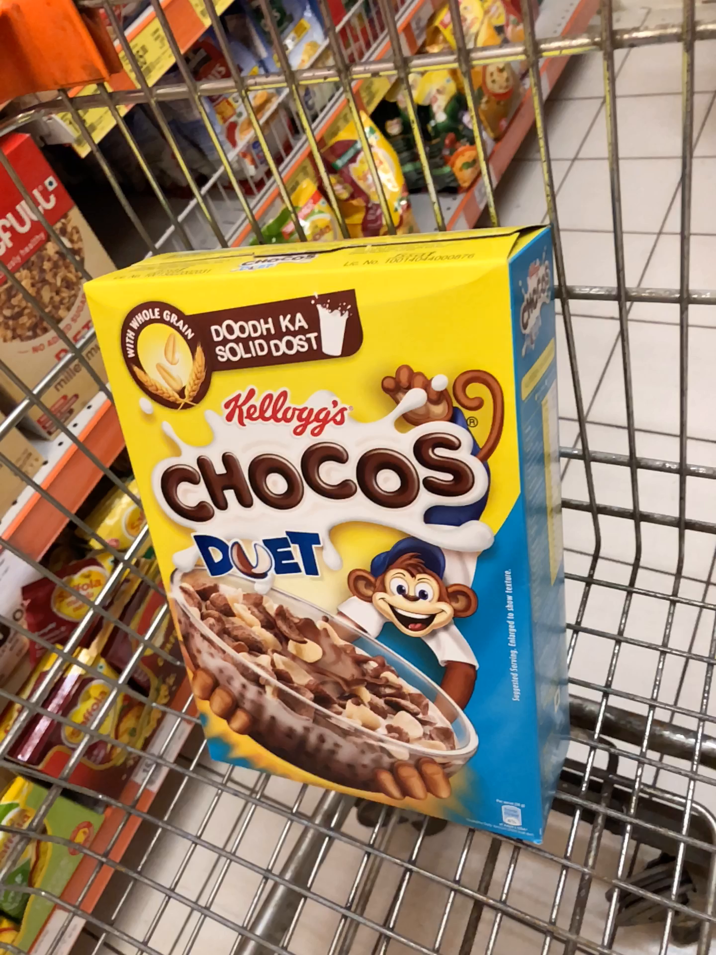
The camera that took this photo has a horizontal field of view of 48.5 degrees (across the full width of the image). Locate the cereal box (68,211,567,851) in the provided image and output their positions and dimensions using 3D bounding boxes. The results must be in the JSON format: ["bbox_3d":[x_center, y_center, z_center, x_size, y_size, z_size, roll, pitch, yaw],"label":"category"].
[{"bbox_3d":[-0.005,0.025,0.363,0.180,0.259,0.070,4,26,25],"label":"cereal box"}]
